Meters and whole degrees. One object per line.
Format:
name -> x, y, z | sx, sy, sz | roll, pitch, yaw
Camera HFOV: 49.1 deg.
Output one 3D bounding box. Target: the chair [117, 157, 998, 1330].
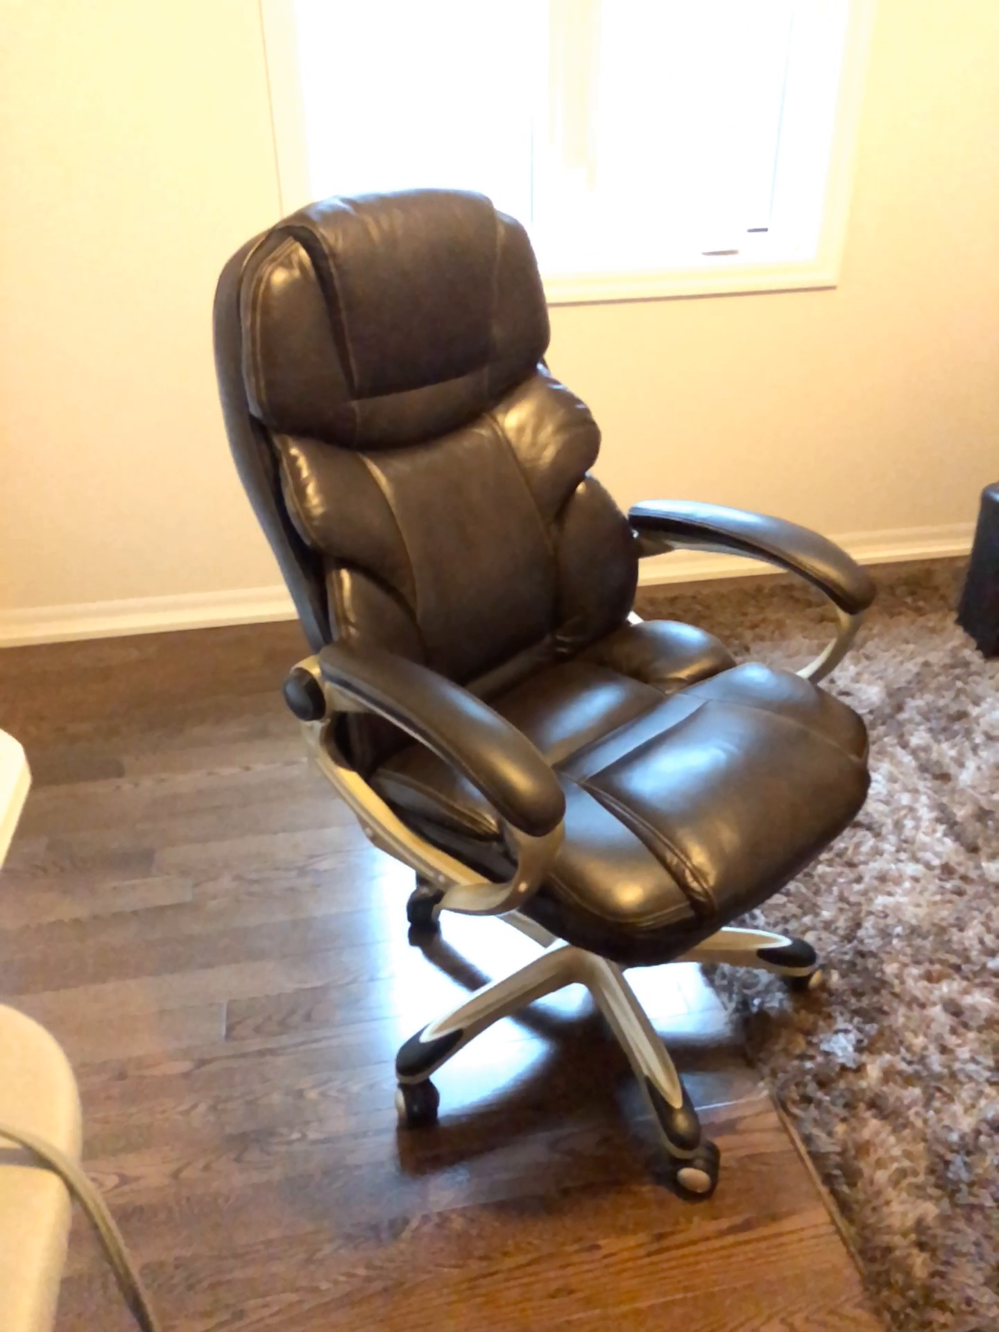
chair -> 0.118, 0.006, 1.425 | 0.731, 1.135, 0.742 | -25, 37, -36
